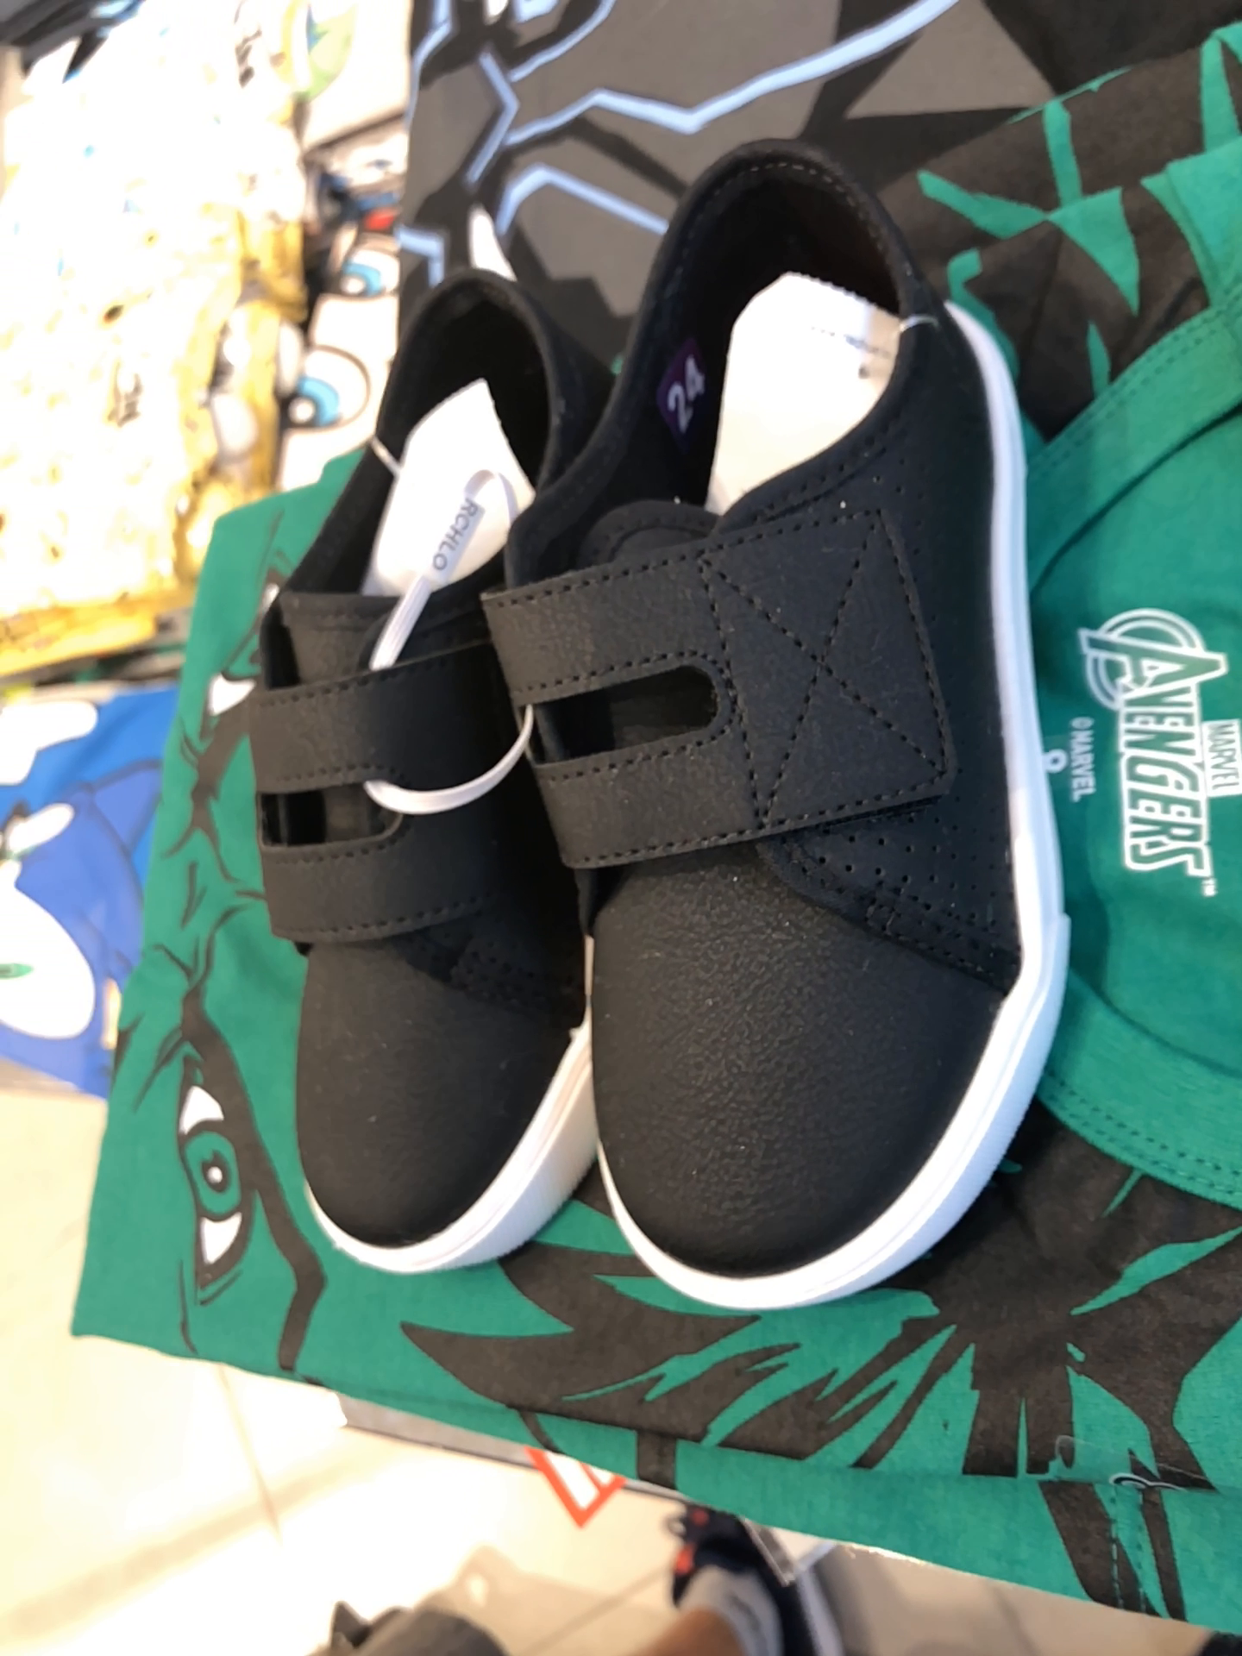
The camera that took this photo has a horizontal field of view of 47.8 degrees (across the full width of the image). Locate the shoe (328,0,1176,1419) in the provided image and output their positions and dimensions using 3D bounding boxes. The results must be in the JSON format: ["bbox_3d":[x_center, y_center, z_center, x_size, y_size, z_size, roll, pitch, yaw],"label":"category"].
[{"bbox_3d":[0.030,-0.014,0.215,0.090,0.090,0.170,-1,77,29],"label":"shoe"}]

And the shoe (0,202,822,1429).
[{"bbox_3d":[-0.032,-0.001,0.247,0.080,0.090,0.170,6,80,30],"label":"shoe"}]
